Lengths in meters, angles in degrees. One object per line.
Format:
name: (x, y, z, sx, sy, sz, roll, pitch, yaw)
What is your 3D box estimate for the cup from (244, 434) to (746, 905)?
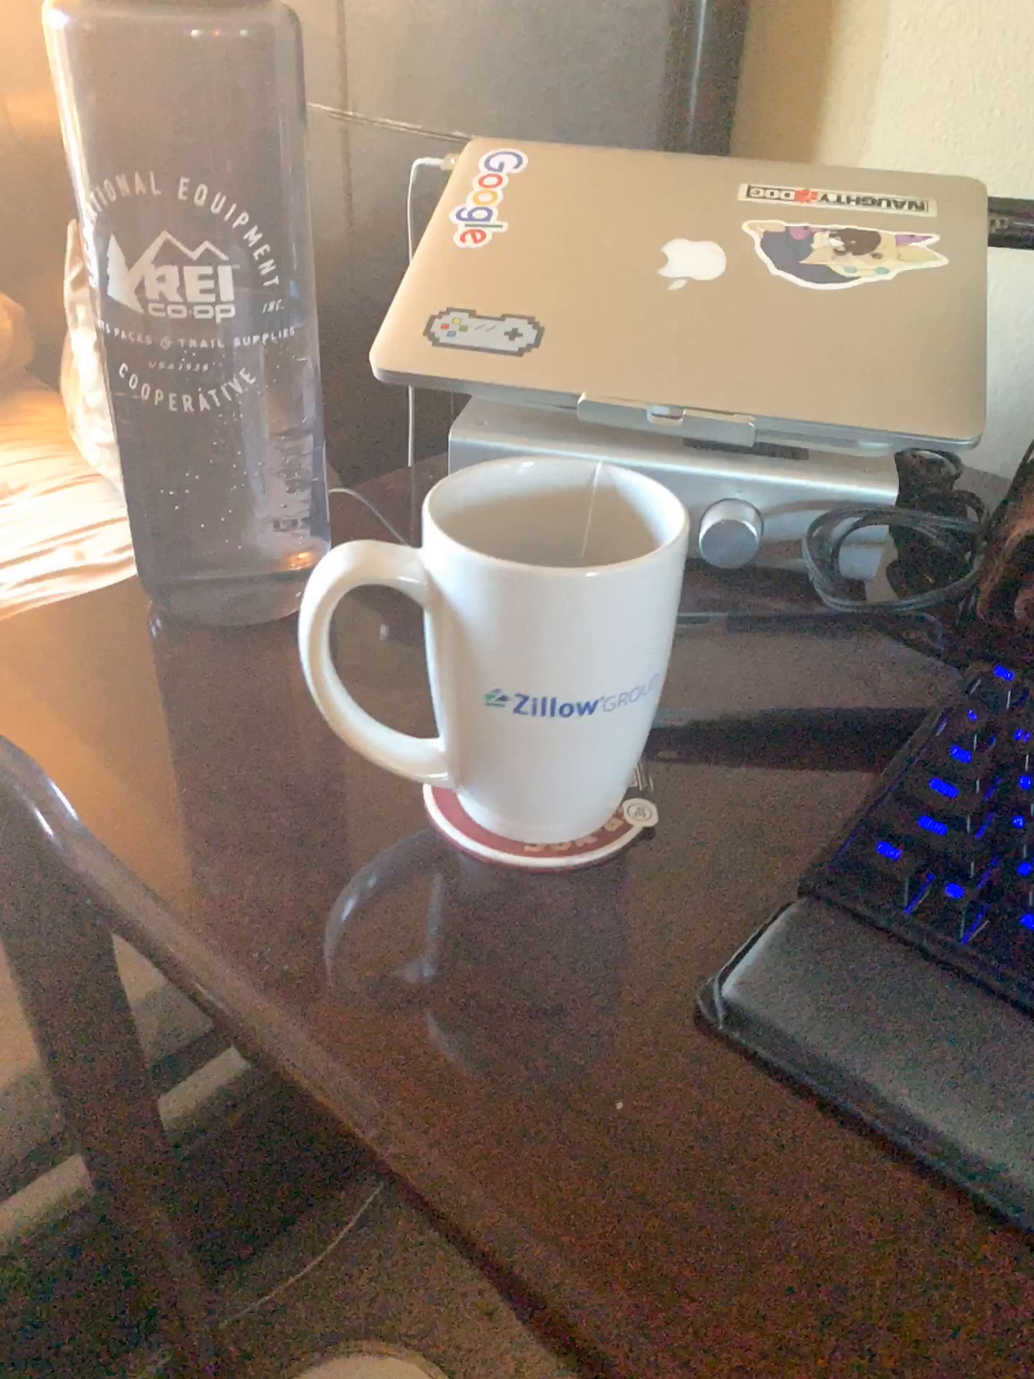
cup: (-0.012, -0.014, 0.365, 0.130, 0.099, 0.101, -13, 38, -21)
